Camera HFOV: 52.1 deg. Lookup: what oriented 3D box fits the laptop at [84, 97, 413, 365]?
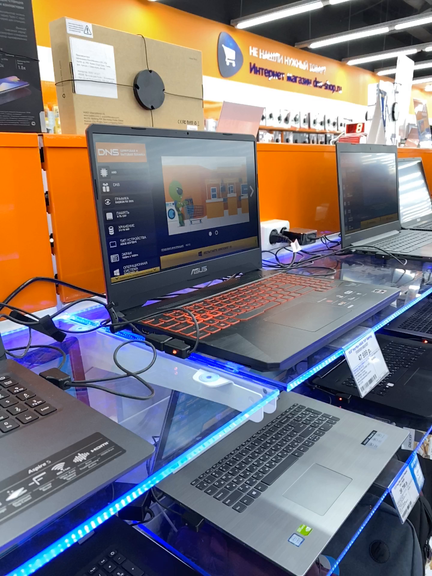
[{"bbox_3d":[0.064,-0.101,0.631,0.286,0.248,0.360,11,18,39],"label":"laptop"}]
